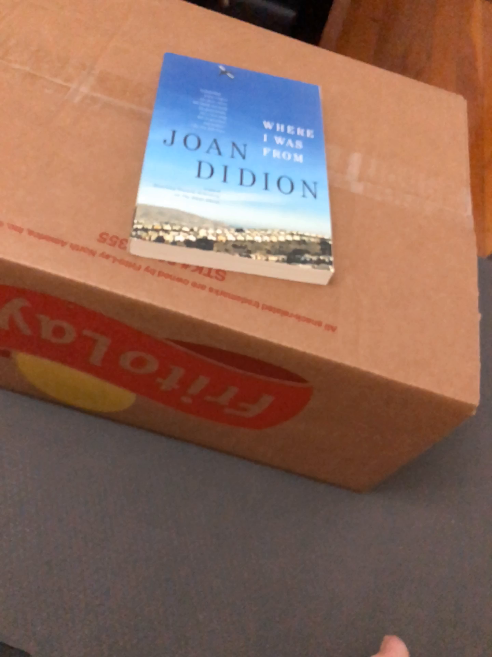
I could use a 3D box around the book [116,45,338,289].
[{"bbox_3d":[-0.009,-0.128,0.409,0.140,0.020,0.211,8,56,-9],"label":"book"}]
